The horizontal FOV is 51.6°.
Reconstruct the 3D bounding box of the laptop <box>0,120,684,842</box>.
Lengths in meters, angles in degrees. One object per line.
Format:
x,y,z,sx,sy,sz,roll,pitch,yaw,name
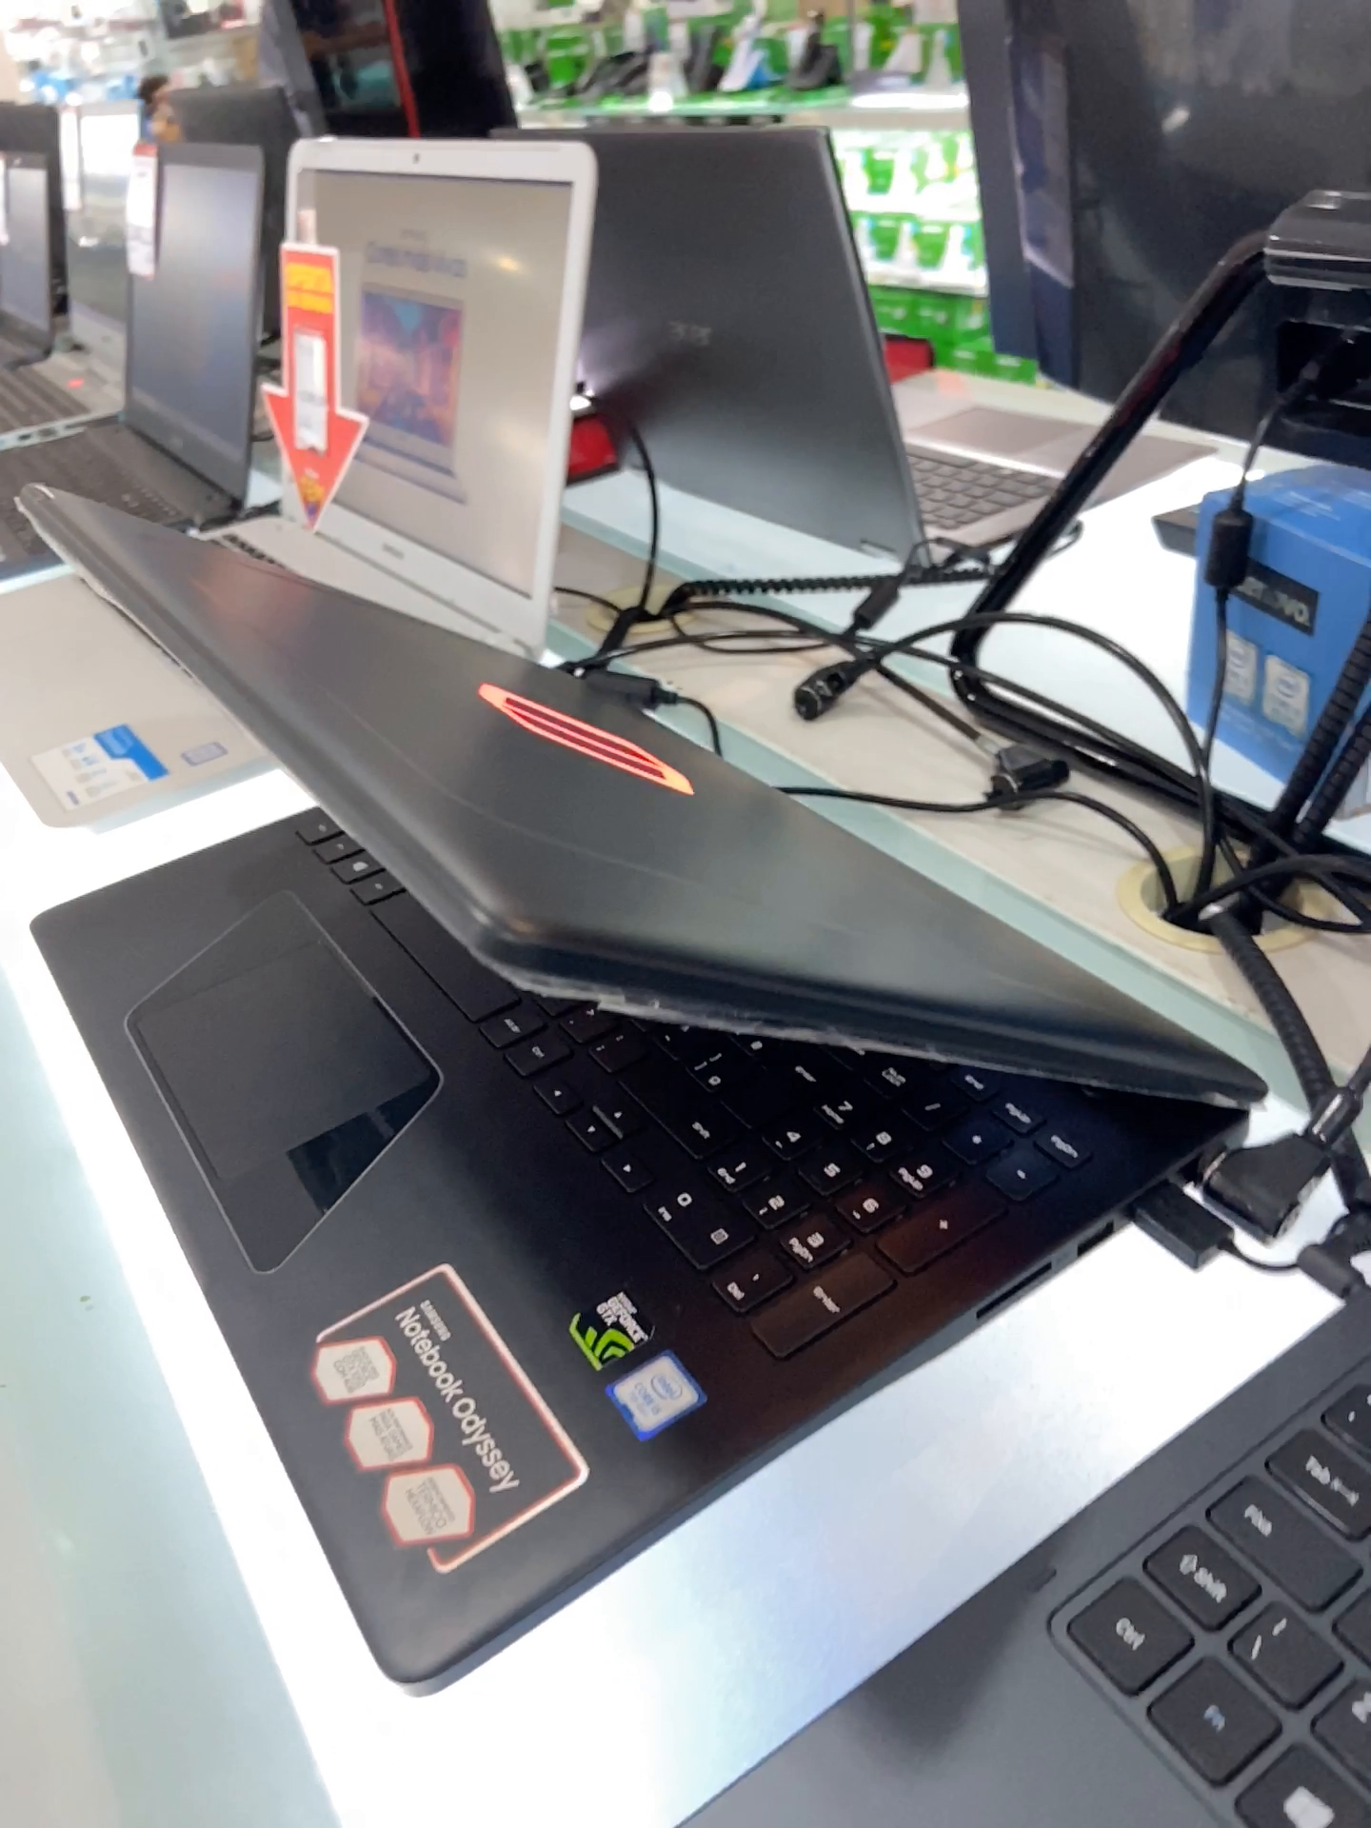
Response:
-0.276,-0.277,0.797,0.345,0.223,0.433,-26,35,-23,laptop

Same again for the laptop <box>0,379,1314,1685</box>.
-0.061,-0.033,0.430,0.258,0.152,0.369,-24,36,-23,laptop

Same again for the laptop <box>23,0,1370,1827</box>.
0.204,0.100,0.097,0.308,0.234,0.414,-26,37,-24,laptop

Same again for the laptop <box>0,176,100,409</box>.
-1.073,-0.889,2.007,0.319,0.205,0.338,-23,38,-21,laptop

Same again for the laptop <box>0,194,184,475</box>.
-0.800,-0.664,1.590,0.337,0.180,0.332,-25,38,-24,laptop

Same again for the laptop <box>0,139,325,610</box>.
-0.539,-0.456,1.140,0.341,0.227,0.338,-25,39,-24,laptop
